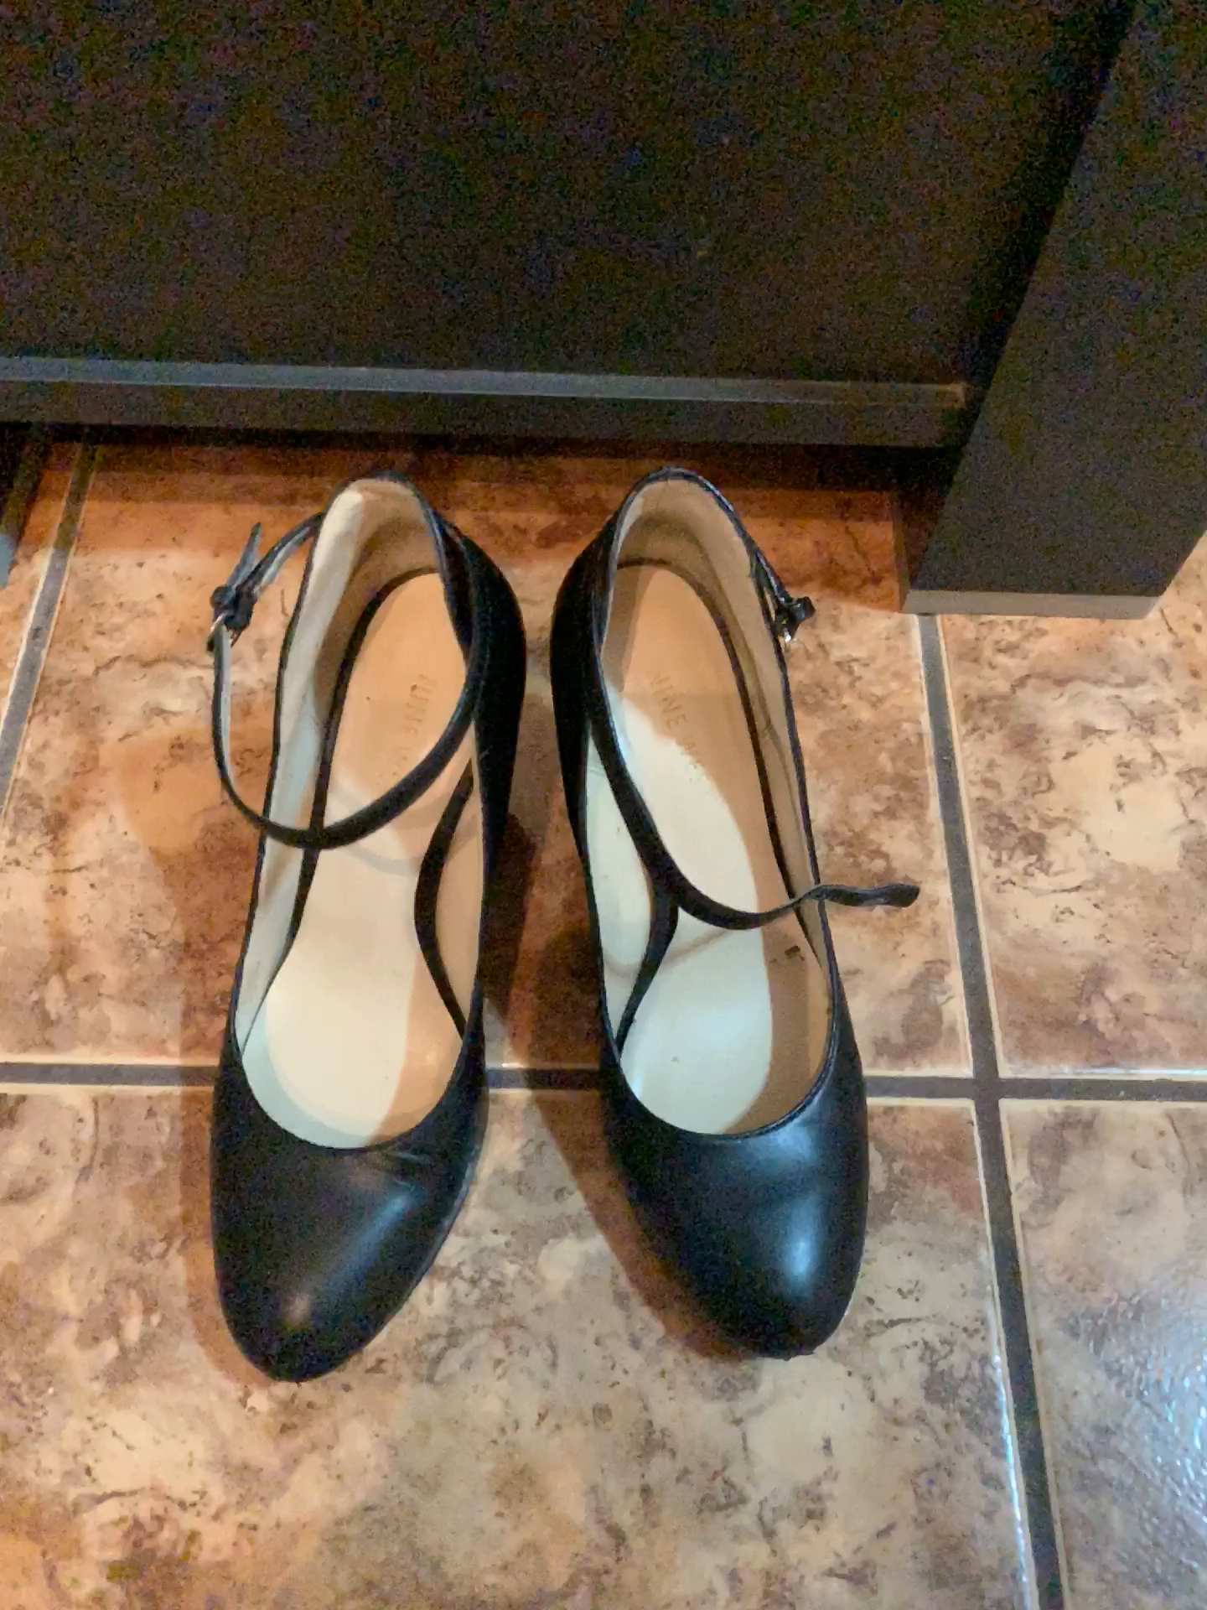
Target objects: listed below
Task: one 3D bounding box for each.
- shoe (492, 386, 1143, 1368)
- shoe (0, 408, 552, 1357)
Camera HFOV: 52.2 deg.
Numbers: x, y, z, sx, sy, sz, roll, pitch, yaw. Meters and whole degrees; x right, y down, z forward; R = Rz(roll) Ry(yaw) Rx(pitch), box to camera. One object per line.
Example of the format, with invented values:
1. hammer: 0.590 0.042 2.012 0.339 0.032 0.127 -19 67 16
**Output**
1. shoe: 0.033 0.023 0.326 0.087 0.140 0.210 -9 63 -6
2. shoe: -0.064 0.030 0.330 0.079 0.160 0.200 5 62 1
